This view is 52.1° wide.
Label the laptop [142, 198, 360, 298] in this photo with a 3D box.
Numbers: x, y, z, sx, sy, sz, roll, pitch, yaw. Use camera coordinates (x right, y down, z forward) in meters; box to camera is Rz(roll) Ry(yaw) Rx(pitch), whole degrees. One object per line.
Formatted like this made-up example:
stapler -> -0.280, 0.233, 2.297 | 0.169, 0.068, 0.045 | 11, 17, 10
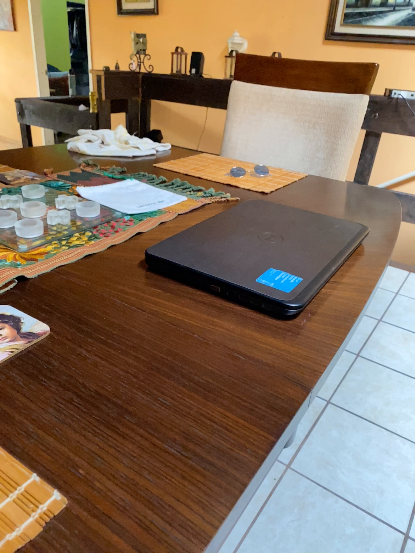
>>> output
laptop -> 0.096, -0.072, 0.736 | 0.248, 0.001, 0.354 | 19, 30, 26
